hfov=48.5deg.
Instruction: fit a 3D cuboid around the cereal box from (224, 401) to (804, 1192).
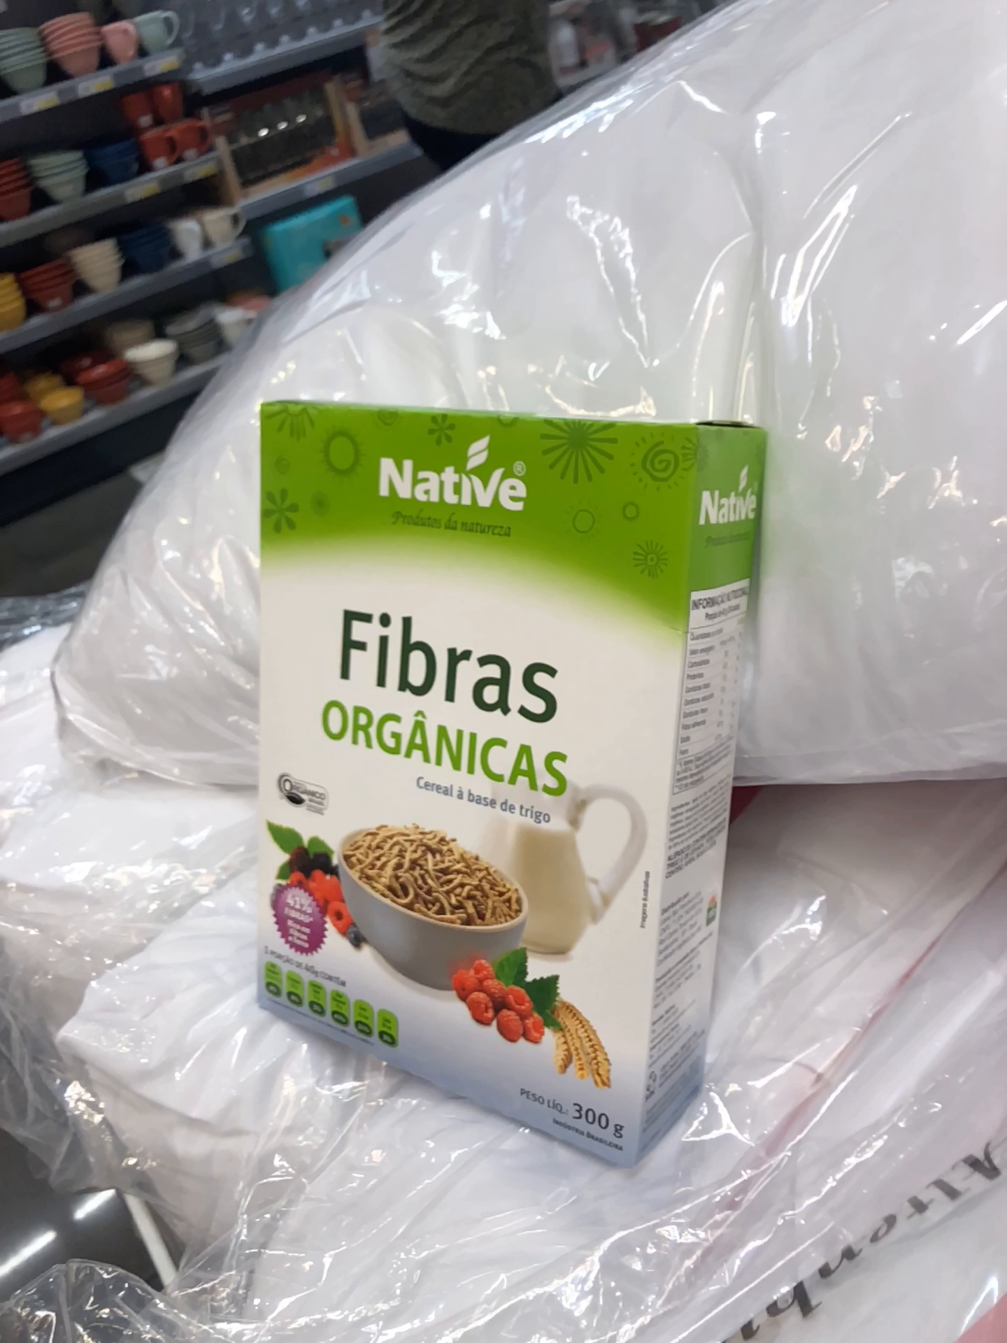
[{"bbox_3d":[-0.008,0.027,0.393,0.190,0.229,0.060,11,15,33],"label":"cereal box"}]
